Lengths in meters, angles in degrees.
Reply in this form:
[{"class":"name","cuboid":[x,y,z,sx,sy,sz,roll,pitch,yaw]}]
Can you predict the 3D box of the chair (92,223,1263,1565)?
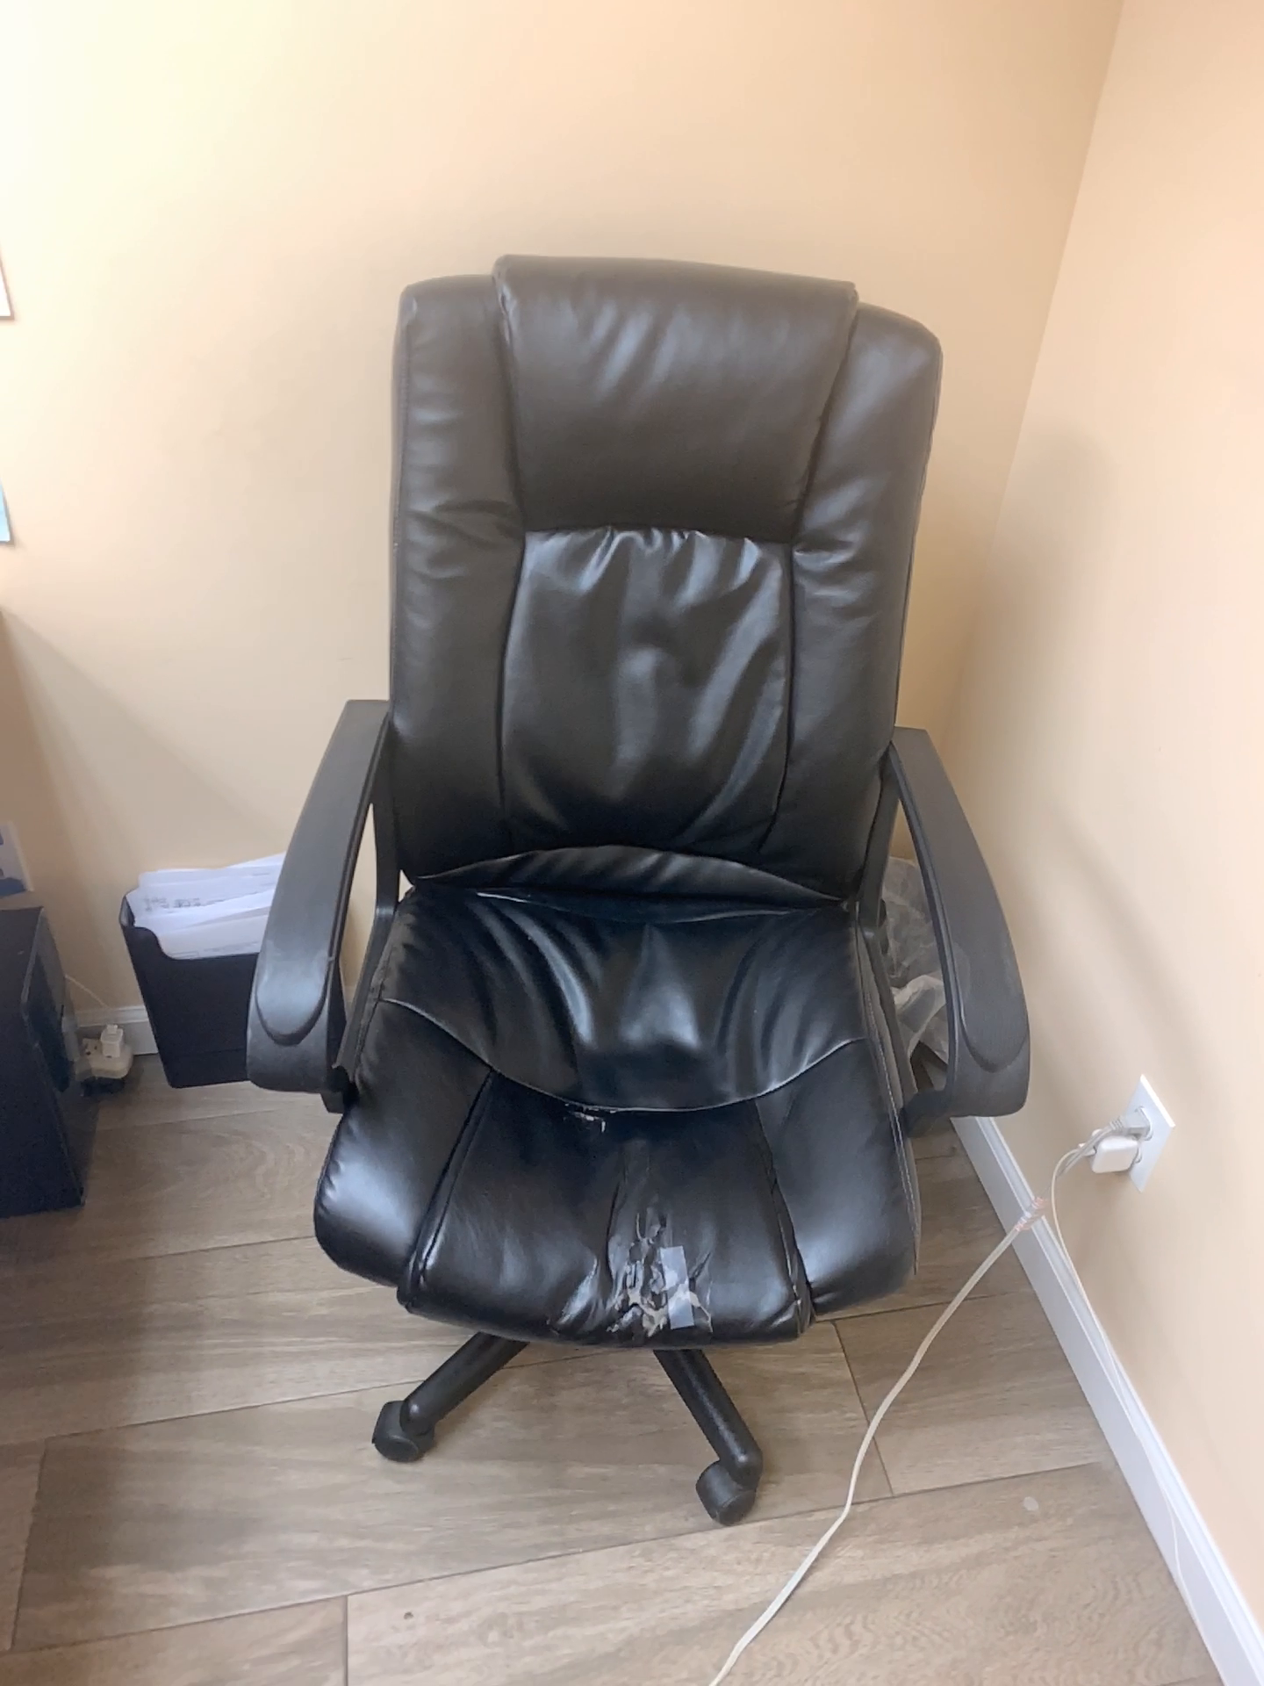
[{"class":"chair","cuboid":[0.027,0.088,1.227,0.648,1.083,0.630,4,37,0]}]
